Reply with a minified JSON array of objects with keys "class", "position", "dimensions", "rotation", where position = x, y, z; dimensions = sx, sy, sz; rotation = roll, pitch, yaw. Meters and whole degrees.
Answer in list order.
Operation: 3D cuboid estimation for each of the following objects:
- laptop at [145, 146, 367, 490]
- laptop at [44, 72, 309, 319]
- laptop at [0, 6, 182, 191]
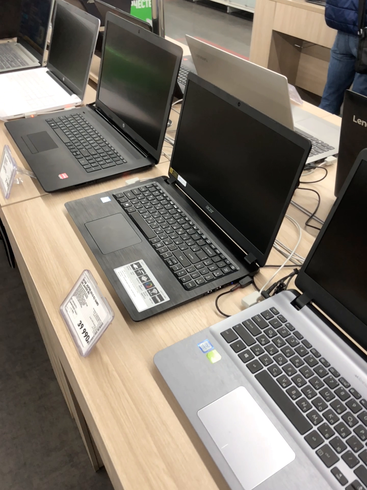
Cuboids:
[{"class":"laptop","position":[0.180,0.102,0.424],"dimensions":[0.324,0.218,0.328],"rotation":[-21,43,-20]},{"class":"laptop","position":[-0.032,-0.118,0.708],"dimensions":[0.291,0.219,0.347],"rotation":[-20,44,-22]},{"class":"laptop","position":[-0.240,-0.376,0.972],"dimensions":[0.345,0.226,0.354],"rotation":[-24,48,-24]}]
